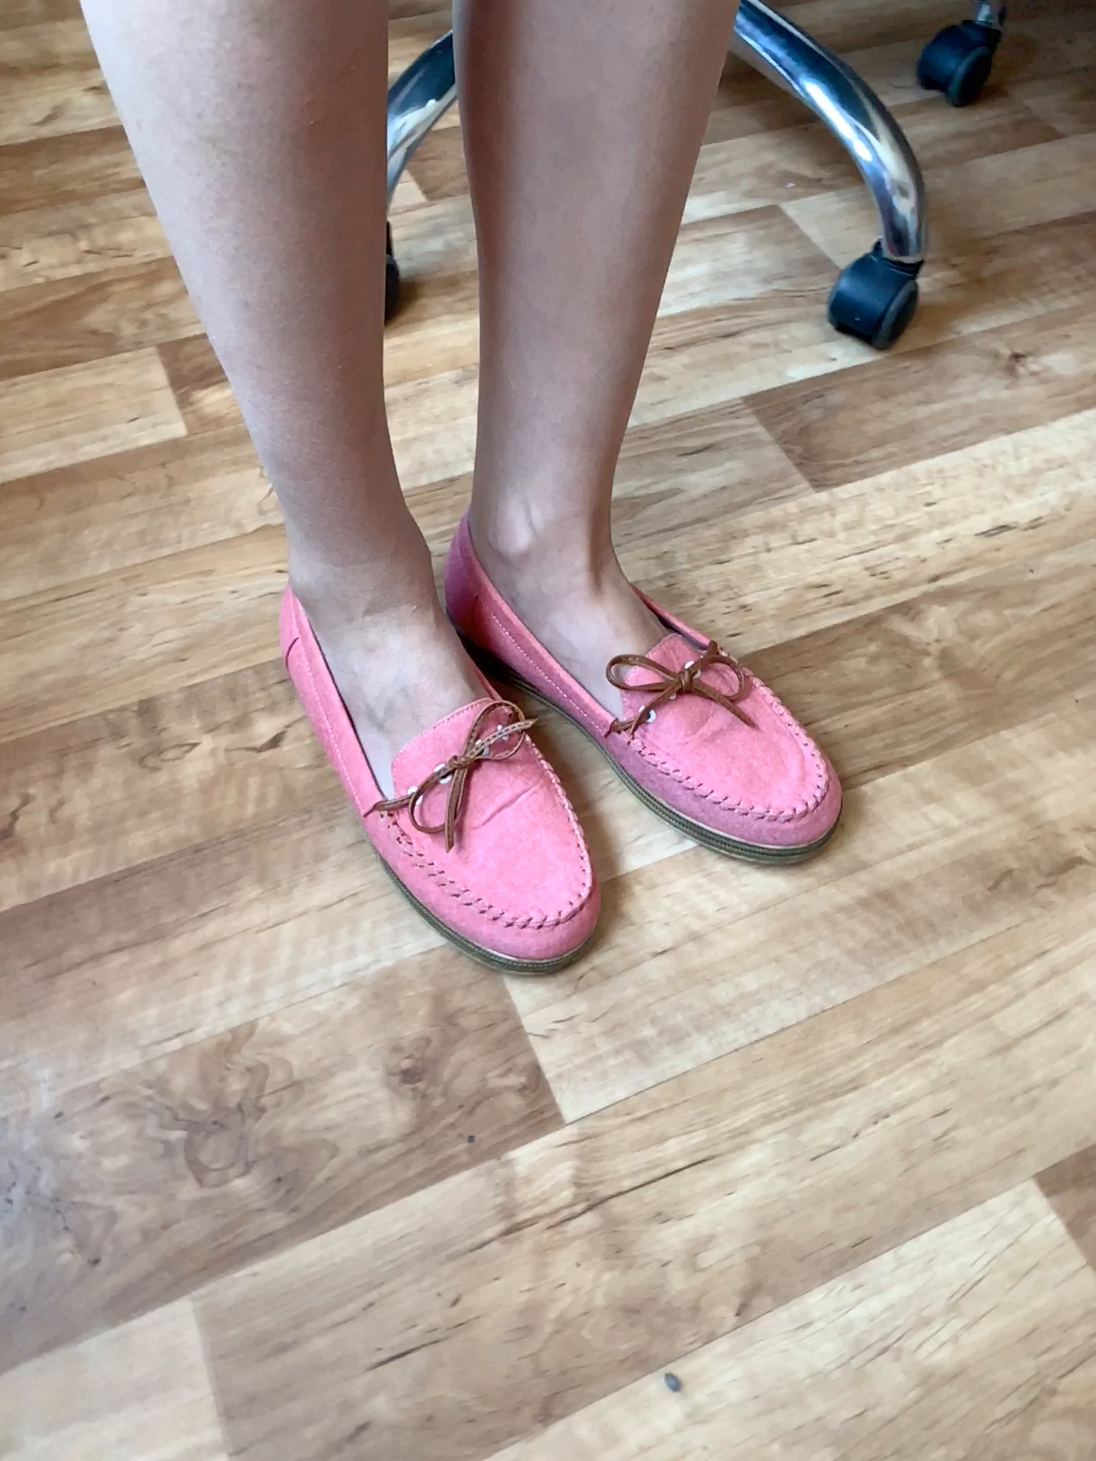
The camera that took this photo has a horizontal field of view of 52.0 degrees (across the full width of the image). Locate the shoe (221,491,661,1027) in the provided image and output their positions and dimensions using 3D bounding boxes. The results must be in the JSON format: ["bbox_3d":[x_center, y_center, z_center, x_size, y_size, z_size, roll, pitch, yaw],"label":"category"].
[{"bbox_3d":[-0.060,0.002,0.555,0.100,0.060,0.261,-25,60,-17],"label":"shoe"}]

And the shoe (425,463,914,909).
[{"bbox_3d":[0.053,-0.032,0.587,0.090,0.060,0.250,-38,64,-24],"label":"shoe"}]
